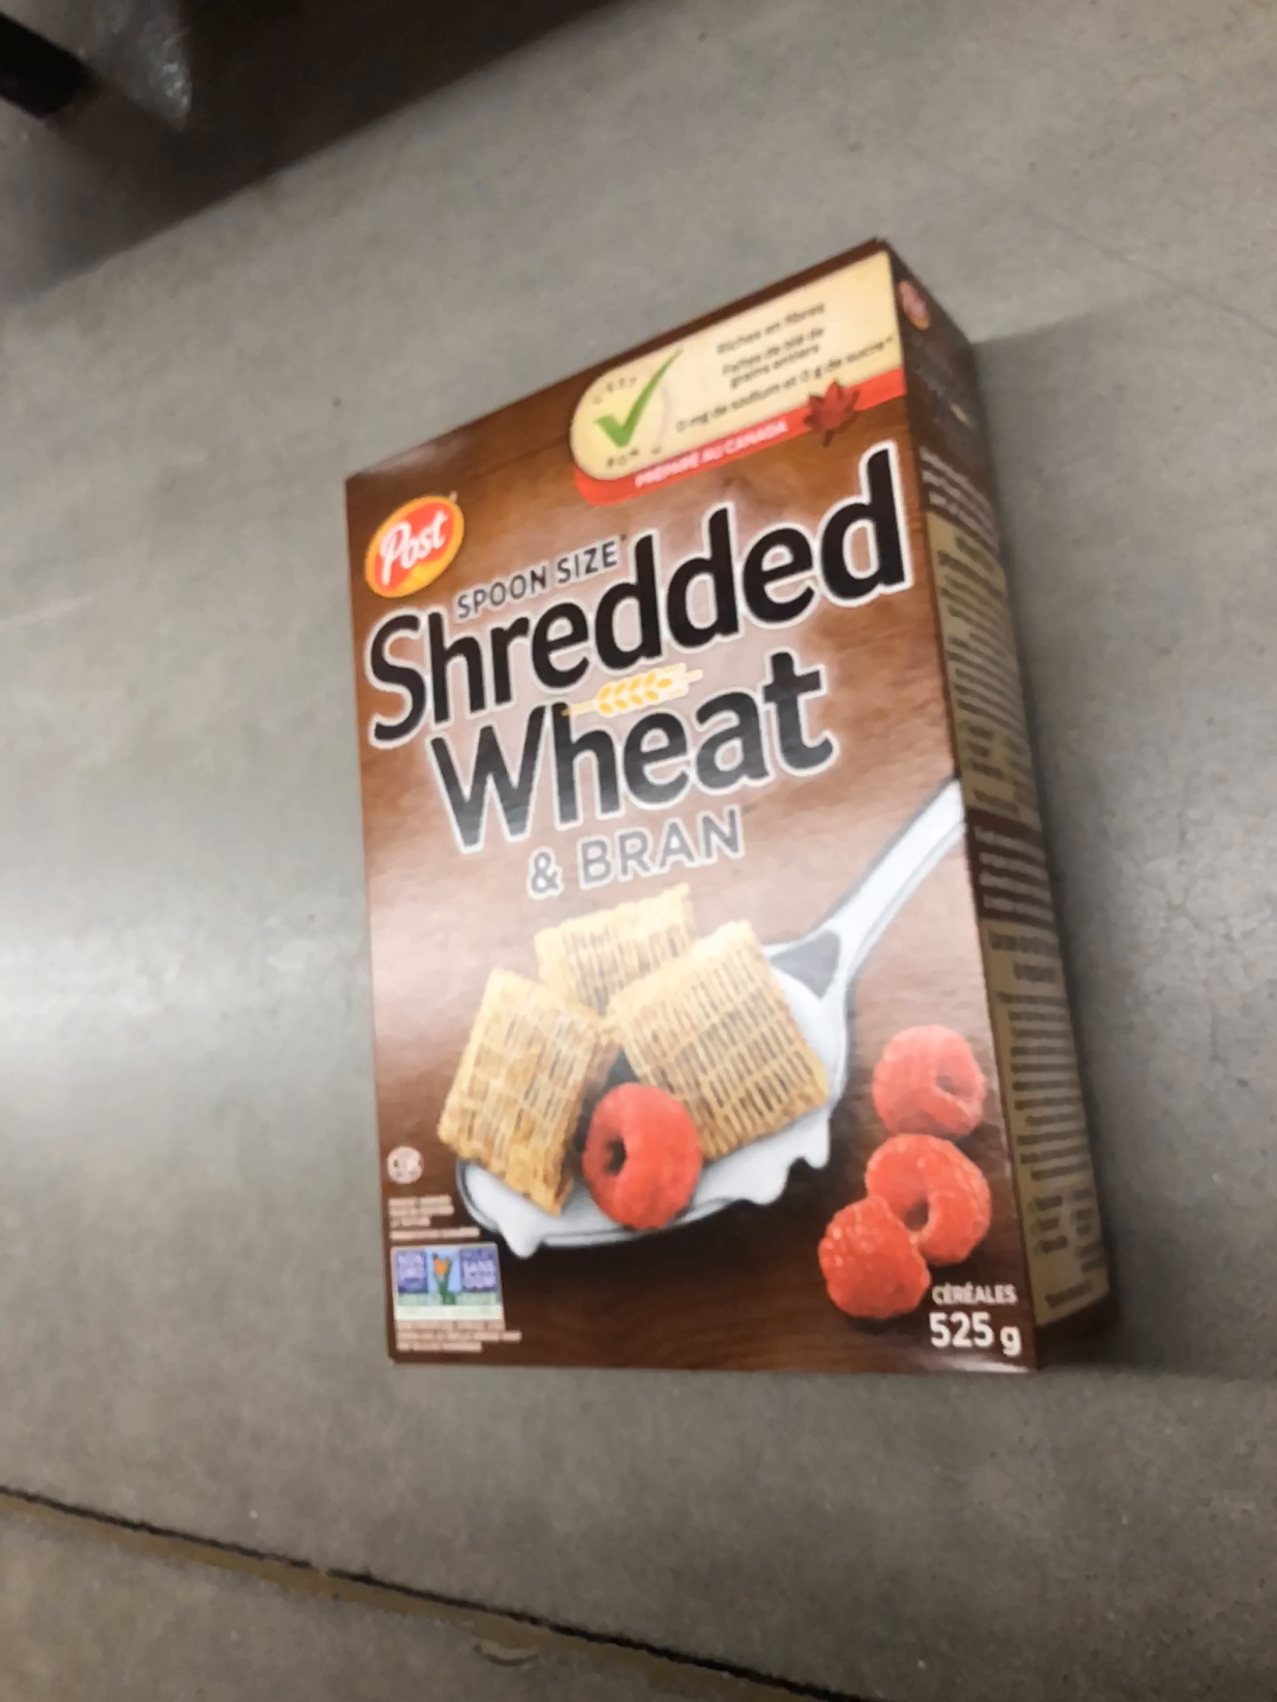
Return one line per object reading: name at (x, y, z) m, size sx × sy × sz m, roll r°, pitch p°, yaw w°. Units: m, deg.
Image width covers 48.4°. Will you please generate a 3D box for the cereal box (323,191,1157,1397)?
cereal box at (0.013, -0.002, 0.403) m, size 0.201 × 0.070 × 0.280 m, roll -13°, pitch 77°, yaw 34°
